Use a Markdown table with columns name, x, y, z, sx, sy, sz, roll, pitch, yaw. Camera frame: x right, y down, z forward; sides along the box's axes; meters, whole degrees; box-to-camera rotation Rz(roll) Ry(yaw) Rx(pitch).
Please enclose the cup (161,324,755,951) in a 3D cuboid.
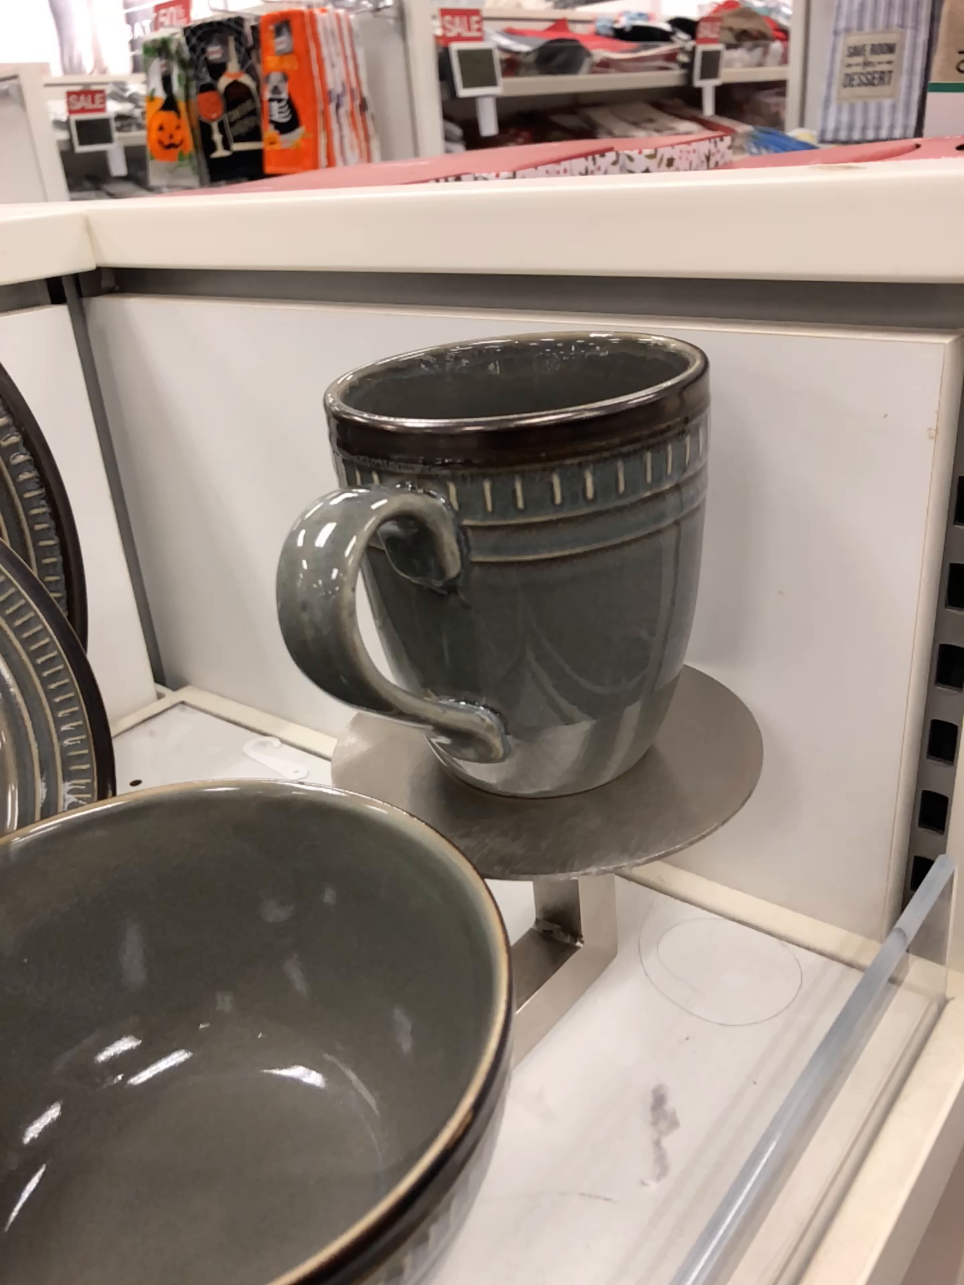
| name | x | y | z | sx | sy | sz | roll | pitch | yaw |
| --- | --- | --- | --- | --- | --- | --- | --- | --- | --- |
| cup | 0.007 | -0.015 | 0.273 | 0.089 | 0.106 | 0.127 | 9 | 28 | 28 |
